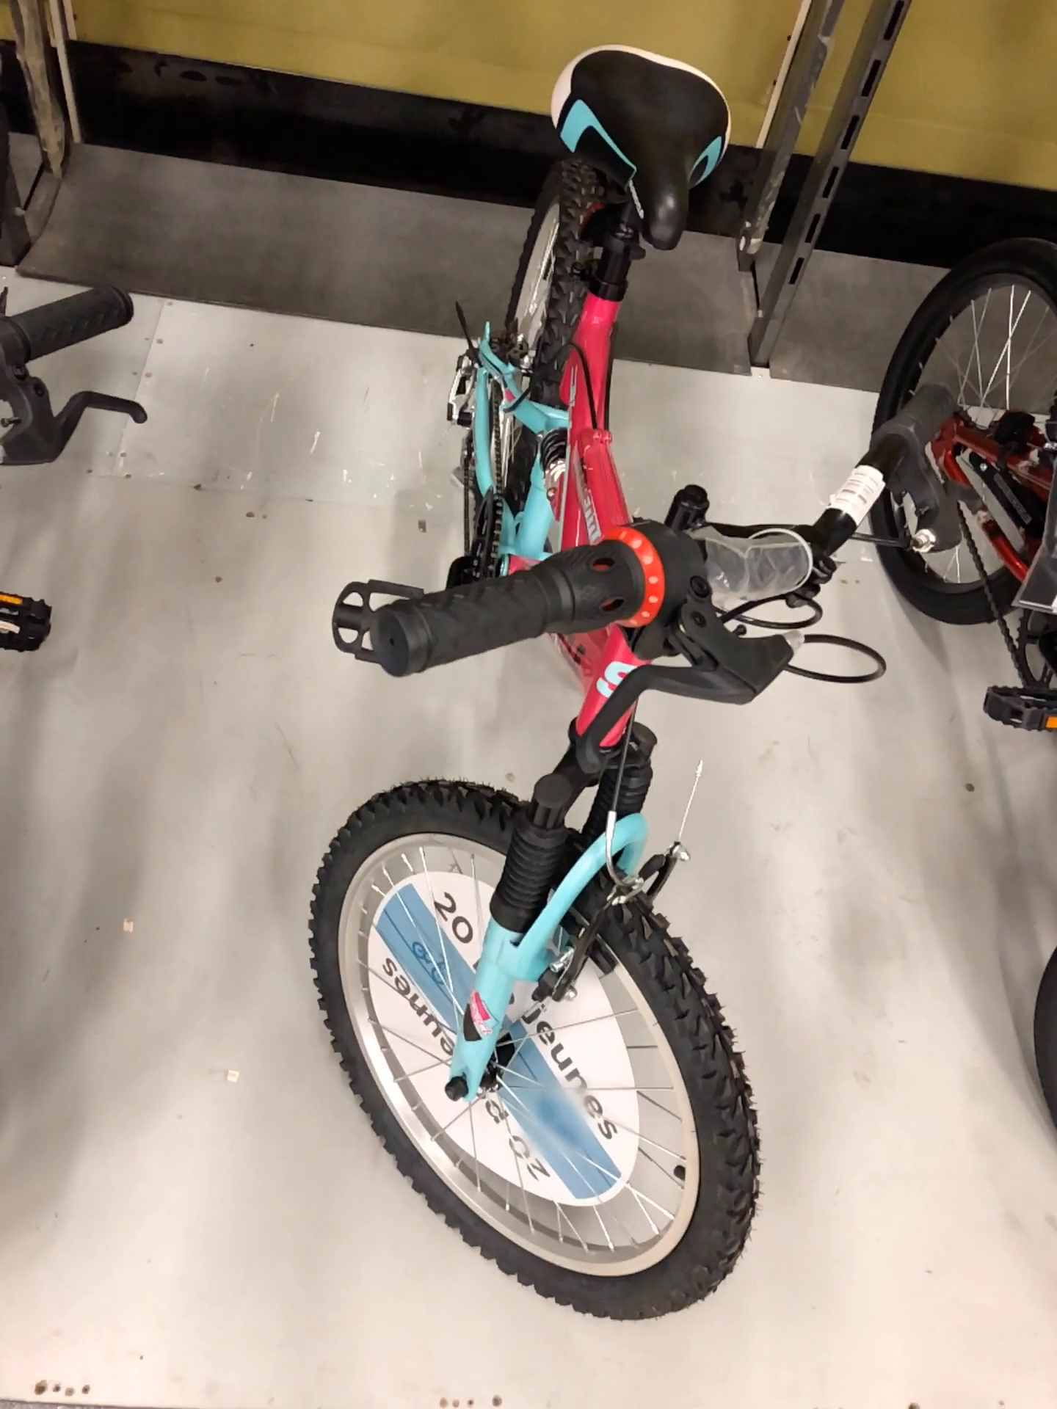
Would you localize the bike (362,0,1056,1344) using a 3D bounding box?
[{"bbox_3d":[0.152,-0.123,1.098,0.563,0.765,1.218,0,60,-10],"label":"bike"}]
